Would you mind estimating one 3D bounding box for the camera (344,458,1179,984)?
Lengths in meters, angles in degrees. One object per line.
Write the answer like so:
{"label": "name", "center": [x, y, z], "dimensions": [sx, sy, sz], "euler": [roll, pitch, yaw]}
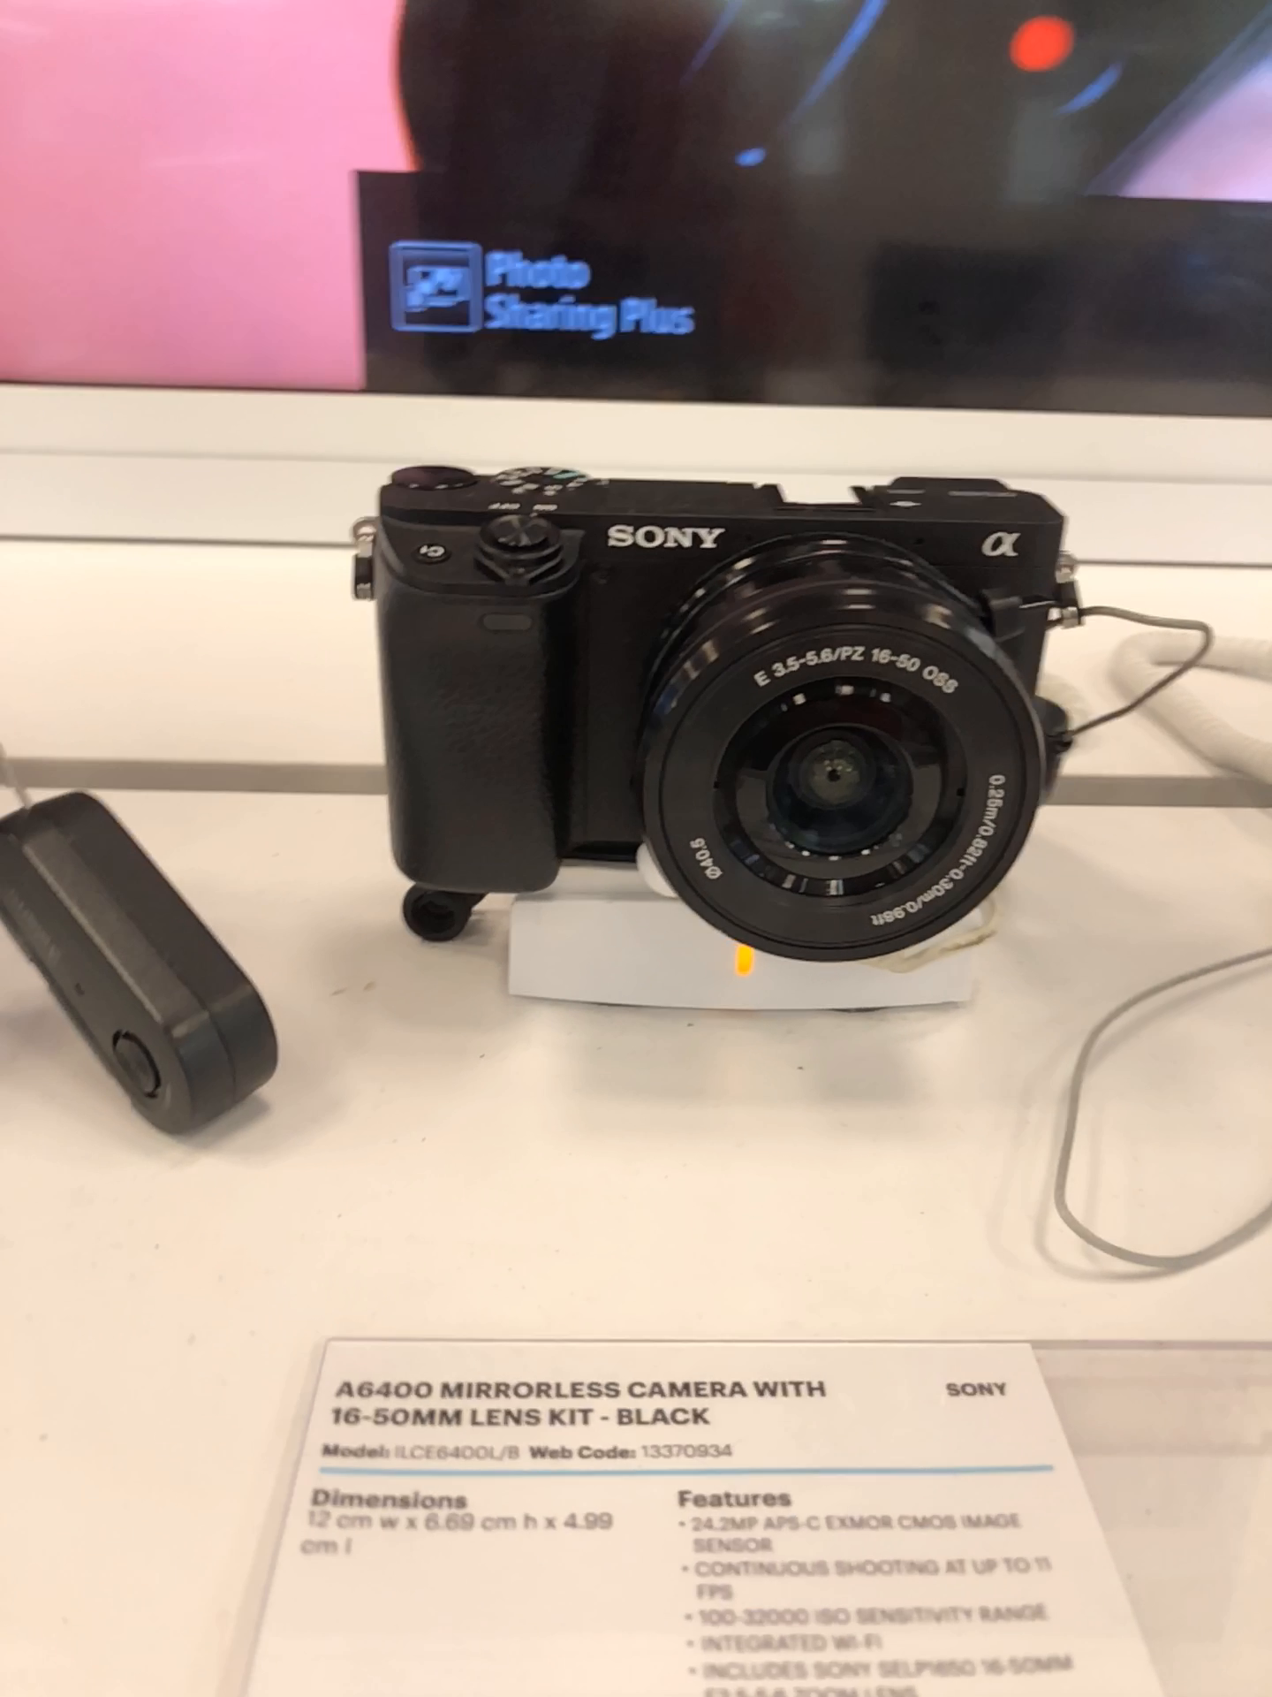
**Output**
{"label": "camera", "center": [0.016, -0.025, 0.250], "dimensions": [0.120, 0.070, 0.070], "euler": [0, 26, -3]}
